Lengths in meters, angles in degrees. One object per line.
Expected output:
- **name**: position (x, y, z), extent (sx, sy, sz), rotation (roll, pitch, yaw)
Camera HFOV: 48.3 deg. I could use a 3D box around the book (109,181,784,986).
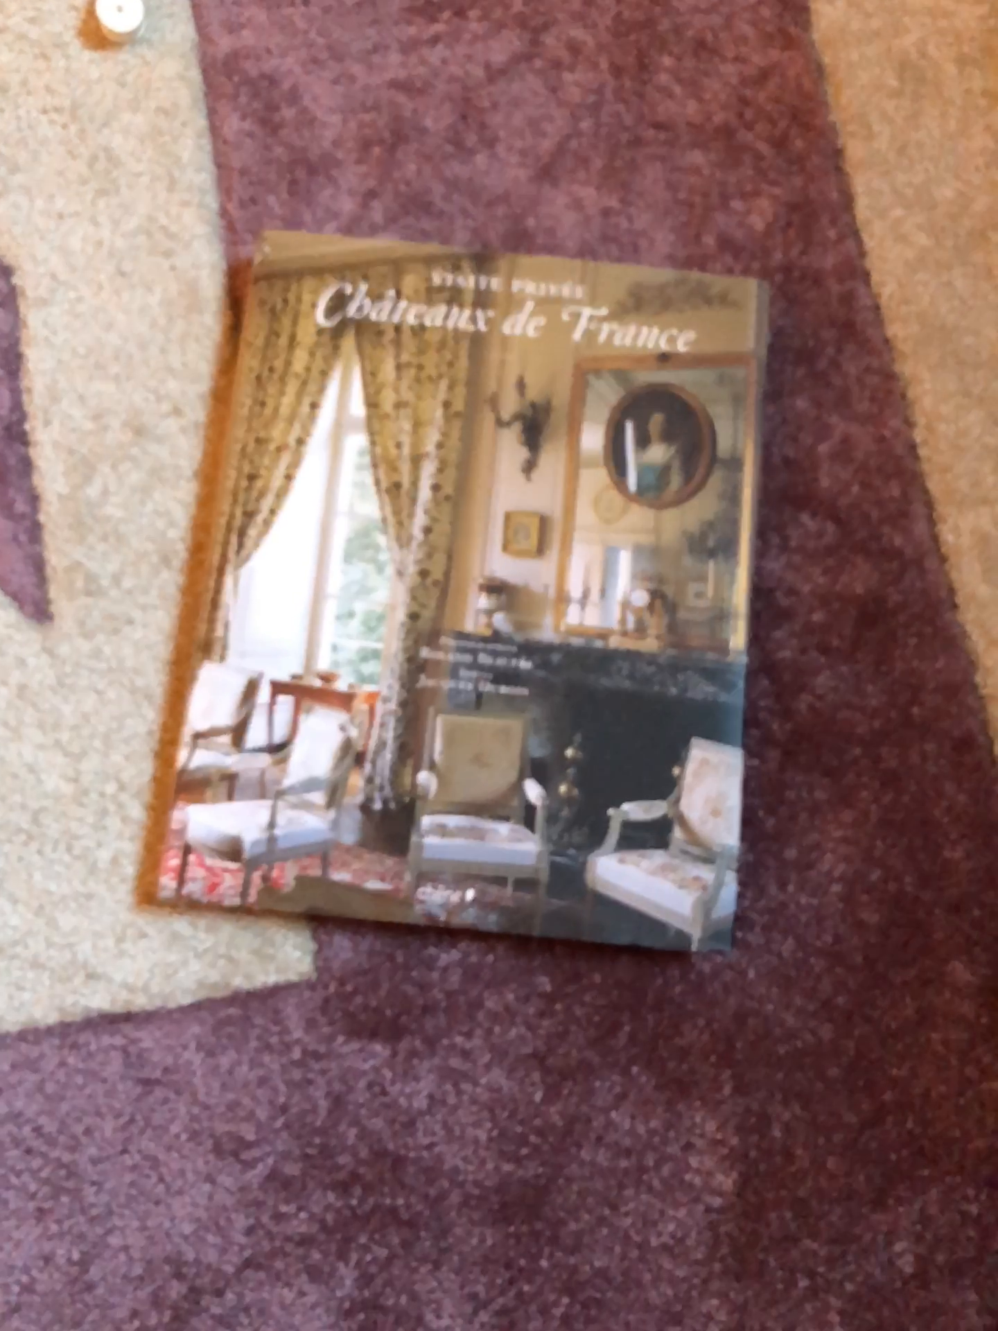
- **book**: position (-0.014, -0.043, 0.516), extent (0.260, 0.050, 0.340), rotation (6, 79, 0)
